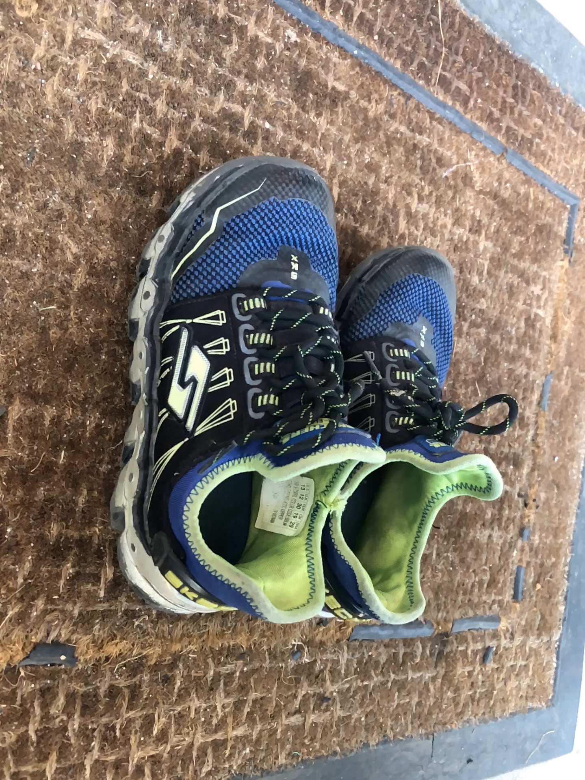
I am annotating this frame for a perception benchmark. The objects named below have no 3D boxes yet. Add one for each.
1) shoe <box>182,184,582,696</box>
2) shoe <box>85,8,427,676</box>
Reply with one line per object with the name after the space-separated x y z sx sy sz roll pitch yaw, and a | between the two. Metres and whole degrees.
0.047 0.020 0.317 0.090 0.100 0.200 33 72 -33 | shoe
-0.018 -0.016 0.288 0.090 0.100 0.230 7 87 -37 | shoe
